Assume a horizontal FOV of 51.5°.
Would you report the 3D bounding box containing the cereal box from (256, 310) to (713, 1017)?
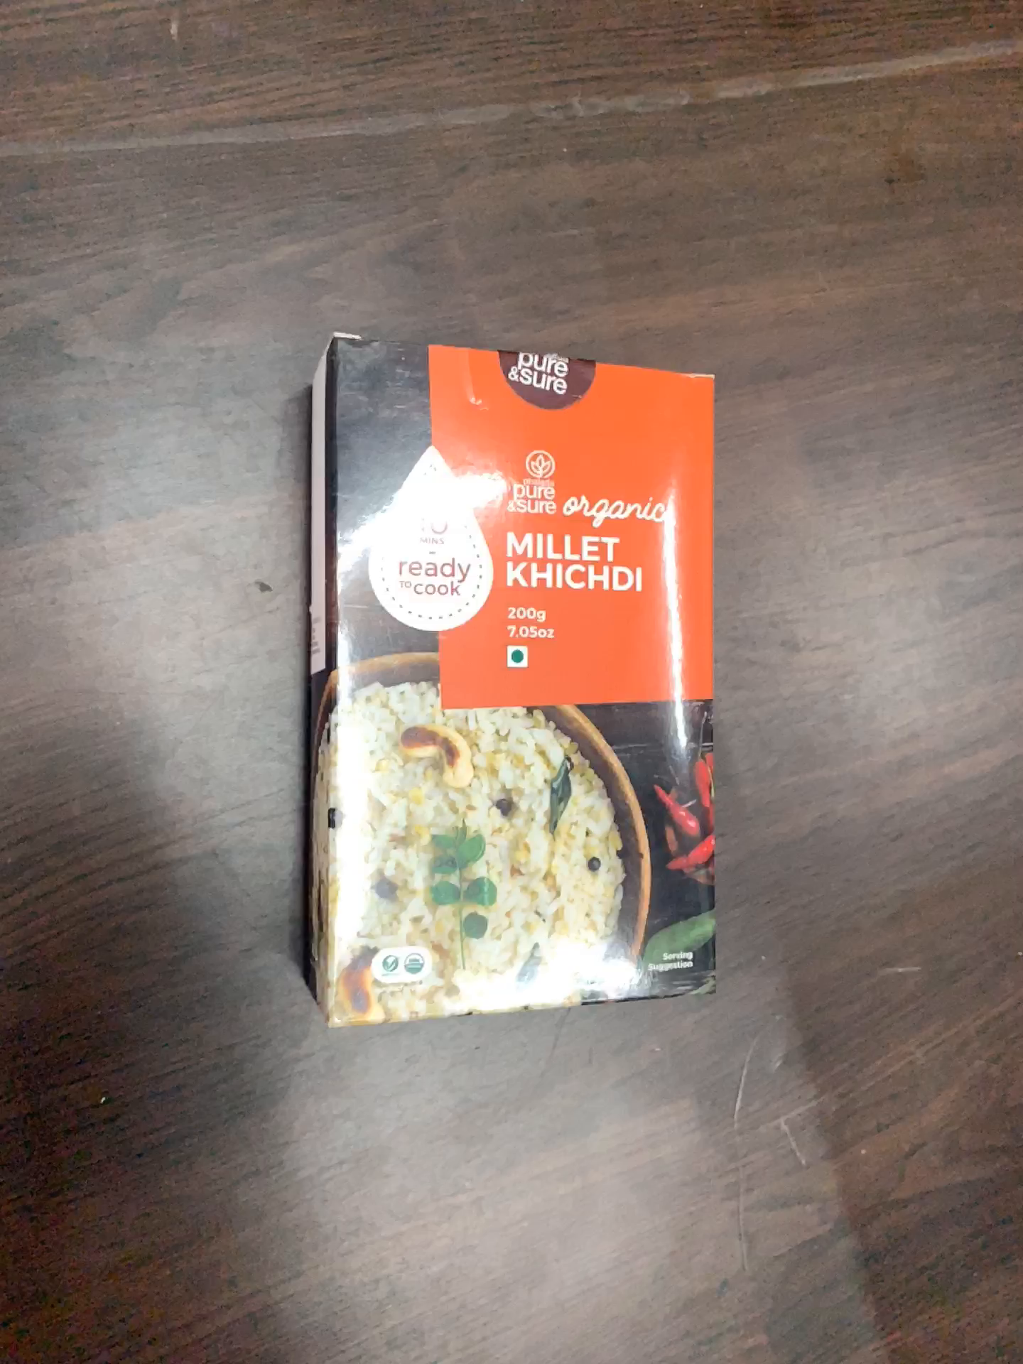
[{"bbox_3d":[-0.008,-0.004,0.275,0.110,0.040,0.160,0,88,-17],"label":"cereal box"}]
